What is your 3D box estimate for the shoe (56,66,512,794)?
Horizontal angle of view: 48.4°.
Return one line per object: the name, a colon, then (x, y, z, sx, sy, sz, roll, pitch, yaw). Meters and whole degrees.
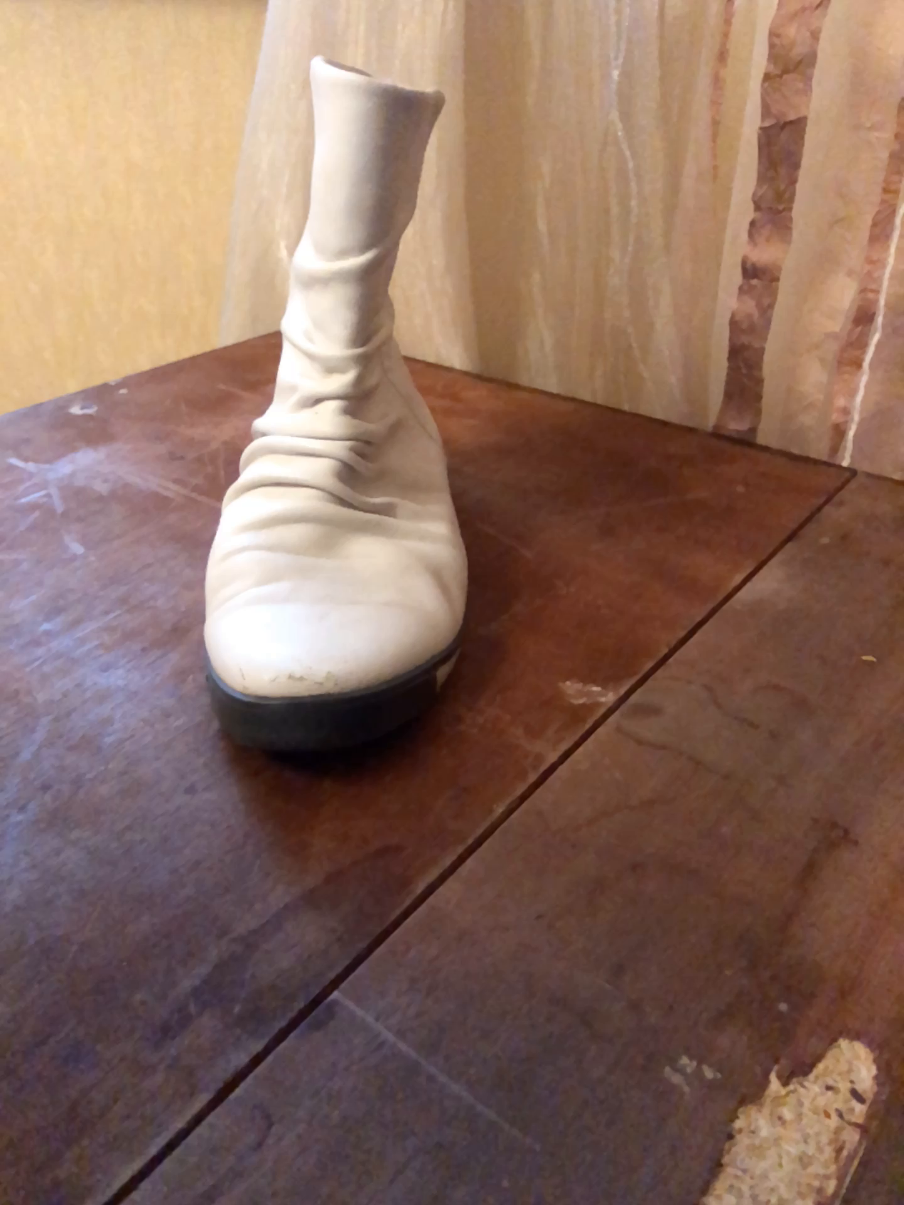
shoe: (-0.030, -0.082, 0.347, 0.090, 0.169, 0.241, 3, 30, 2)
